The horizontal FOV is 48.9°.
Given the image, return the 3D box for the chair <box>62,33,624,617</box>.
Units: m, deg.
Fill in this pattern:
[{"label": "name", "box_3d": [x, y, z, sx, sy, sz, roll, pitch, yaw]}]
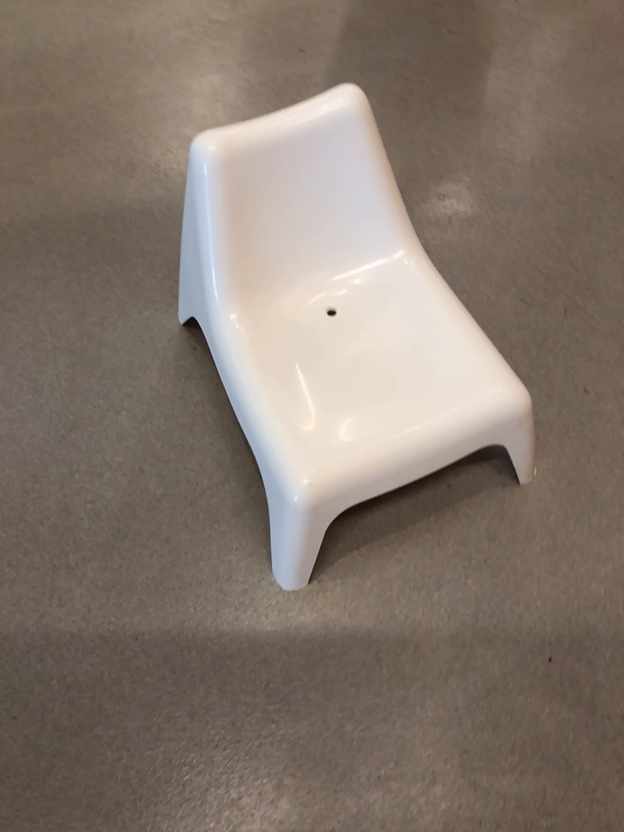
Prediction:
[{"label": "chair", "box_3d": [0.023, -0.153, 1.104, 0.530, 0.400, 0.691, -24, 65, -10]}]
